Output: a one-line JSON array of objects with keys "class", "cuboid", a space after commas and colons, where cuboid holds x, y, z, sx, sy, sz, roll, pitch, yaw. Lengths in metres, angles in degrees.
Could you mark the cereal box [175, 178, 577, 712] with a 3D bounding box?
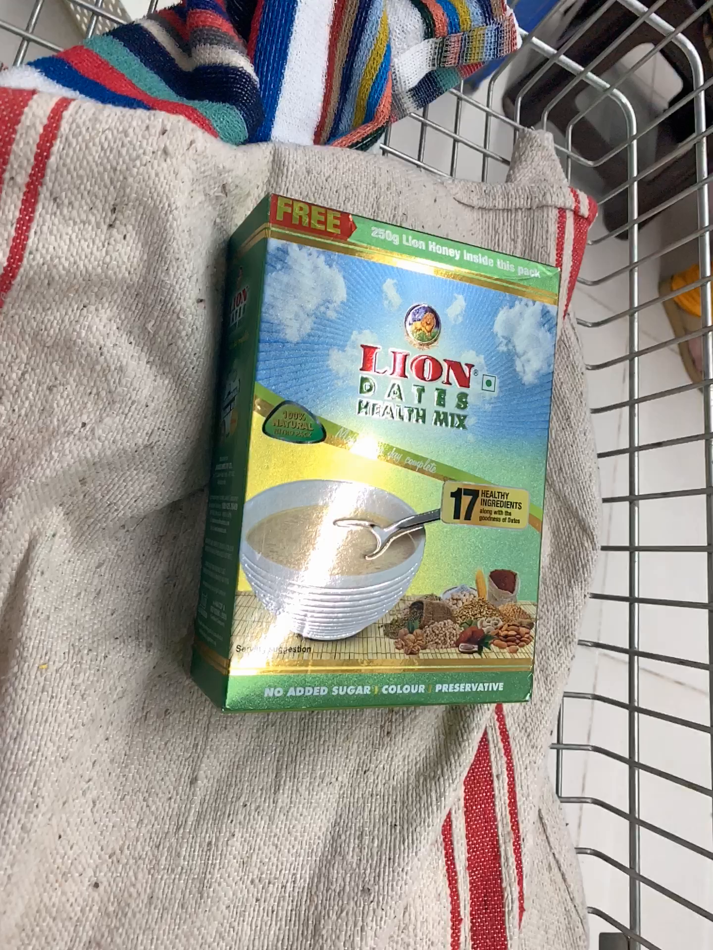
[{"class": "cereal box", "cuboid": [0.006, -0.005, 0.328, 0.140, 0.090, 0.190, 6, 86, -23]}]
